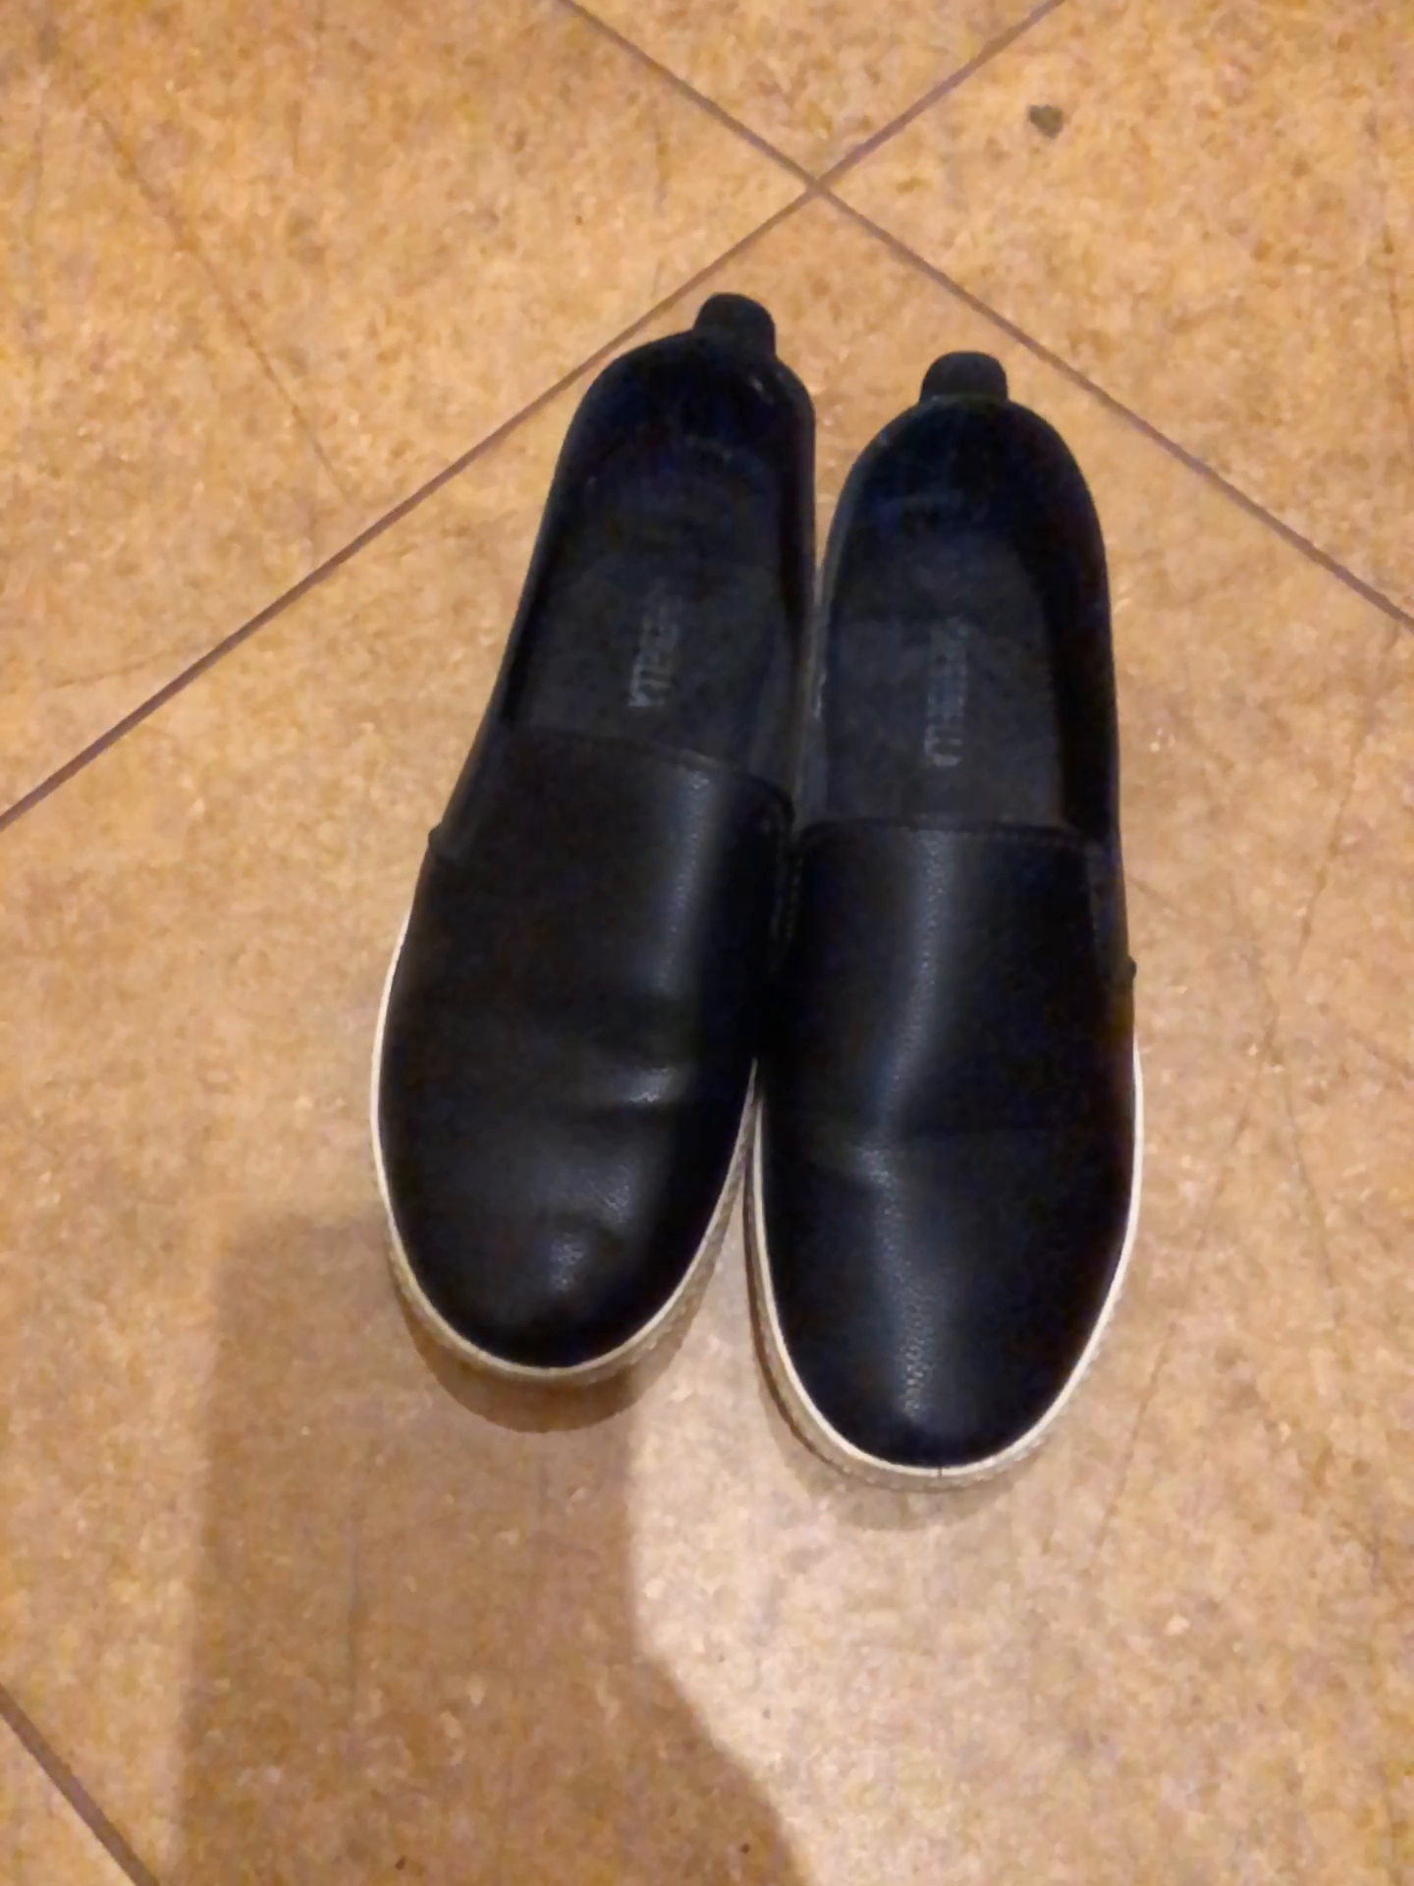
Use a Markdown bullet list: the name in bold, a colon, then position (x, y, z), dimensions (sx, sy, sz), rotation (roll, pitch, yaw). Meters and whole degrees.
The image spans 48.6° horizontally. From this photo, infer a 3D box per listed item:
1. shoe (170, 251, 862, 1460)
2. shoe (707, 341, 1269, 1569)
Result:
- **shoe**: position (-0.028, -0.023, 0.334), dimensions (0.090, 0.070, 0.241), rotation (8, 69, 2)
- **shoe**: position (0.055, -0.003, 0.329), dimensions (0.090, 0.070, 0.241), rotation (5, 69, 1)
